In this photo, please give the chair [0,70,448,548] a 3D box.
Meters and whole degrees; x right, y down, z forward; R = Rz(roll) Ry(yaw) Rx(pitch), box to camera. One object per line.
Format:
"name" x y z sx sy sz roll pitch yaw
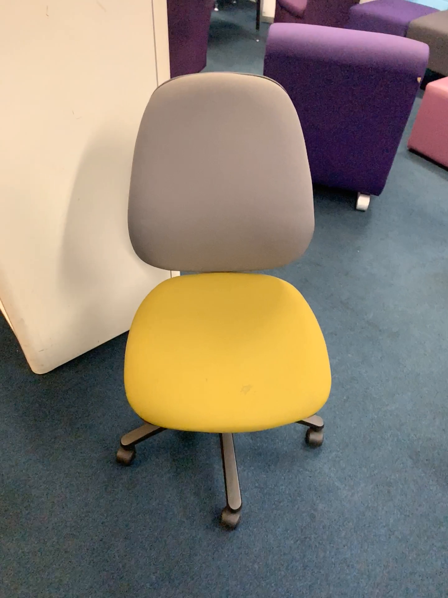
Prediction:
"chair" 0.012 0.063 1.095 0.640 0.921 0.666 -1 45 -5
